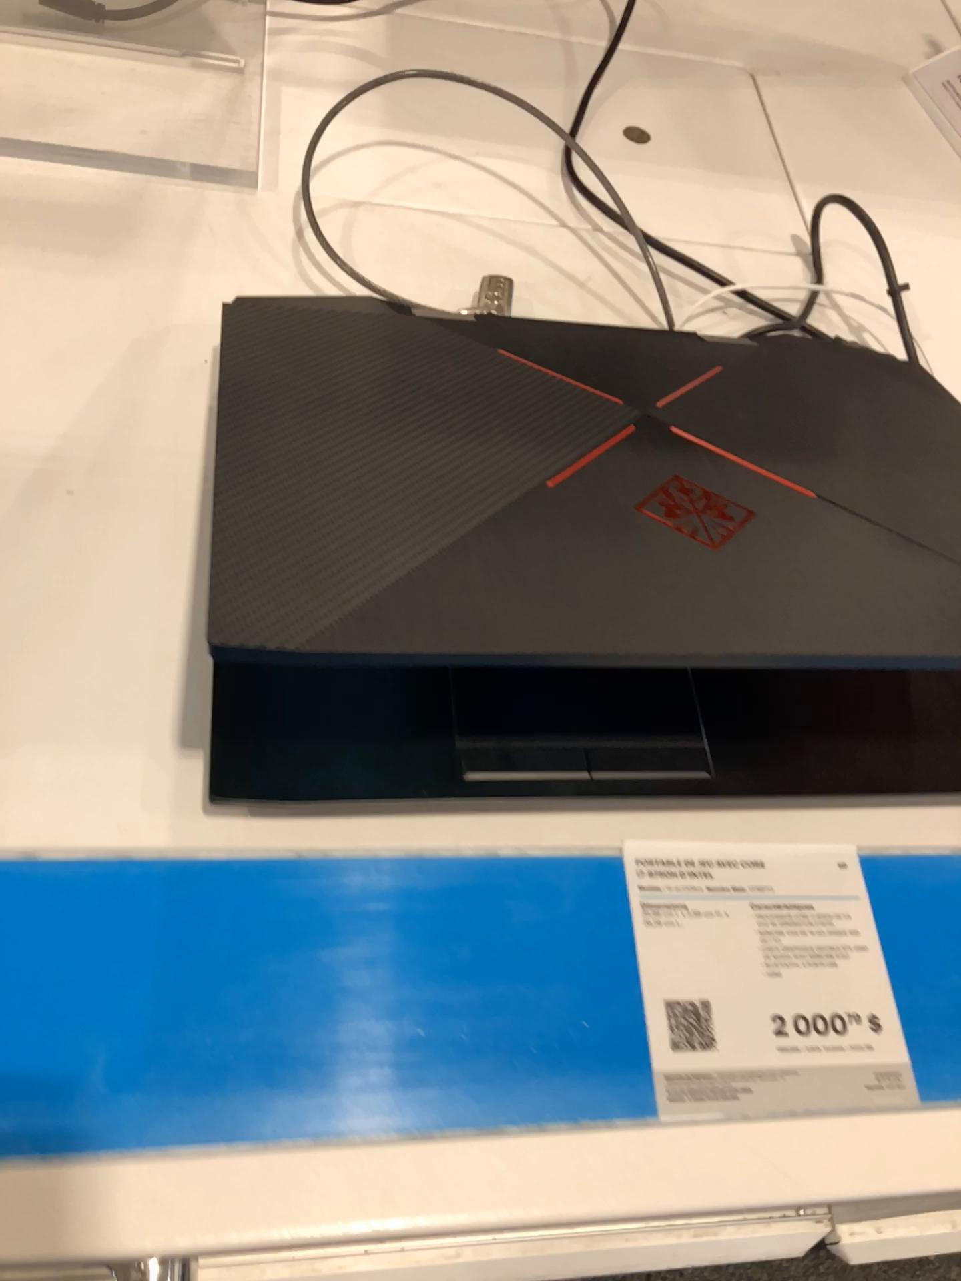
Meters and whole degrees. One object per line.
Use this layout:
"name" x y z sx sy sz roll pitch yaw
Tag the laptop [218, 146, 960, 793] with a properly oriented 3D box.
"laptop" 0.075 -0.065 0.428 0.346 0.085 0.235 2 59 -12
